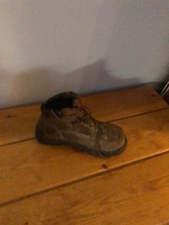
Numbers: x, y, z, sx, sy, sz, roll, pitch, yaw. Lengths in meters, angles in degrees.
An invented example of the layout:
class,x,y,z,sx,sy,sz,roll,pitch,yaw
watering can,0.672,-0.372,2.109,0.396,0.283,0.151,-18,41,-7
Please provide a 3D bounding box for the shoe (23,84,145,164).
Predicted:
class,x,y,z,sx,sy,sz,roll,pitch,yaw
shoe,0.000,0.034,0.528,0.290,0.130,0.130,9,46,0
